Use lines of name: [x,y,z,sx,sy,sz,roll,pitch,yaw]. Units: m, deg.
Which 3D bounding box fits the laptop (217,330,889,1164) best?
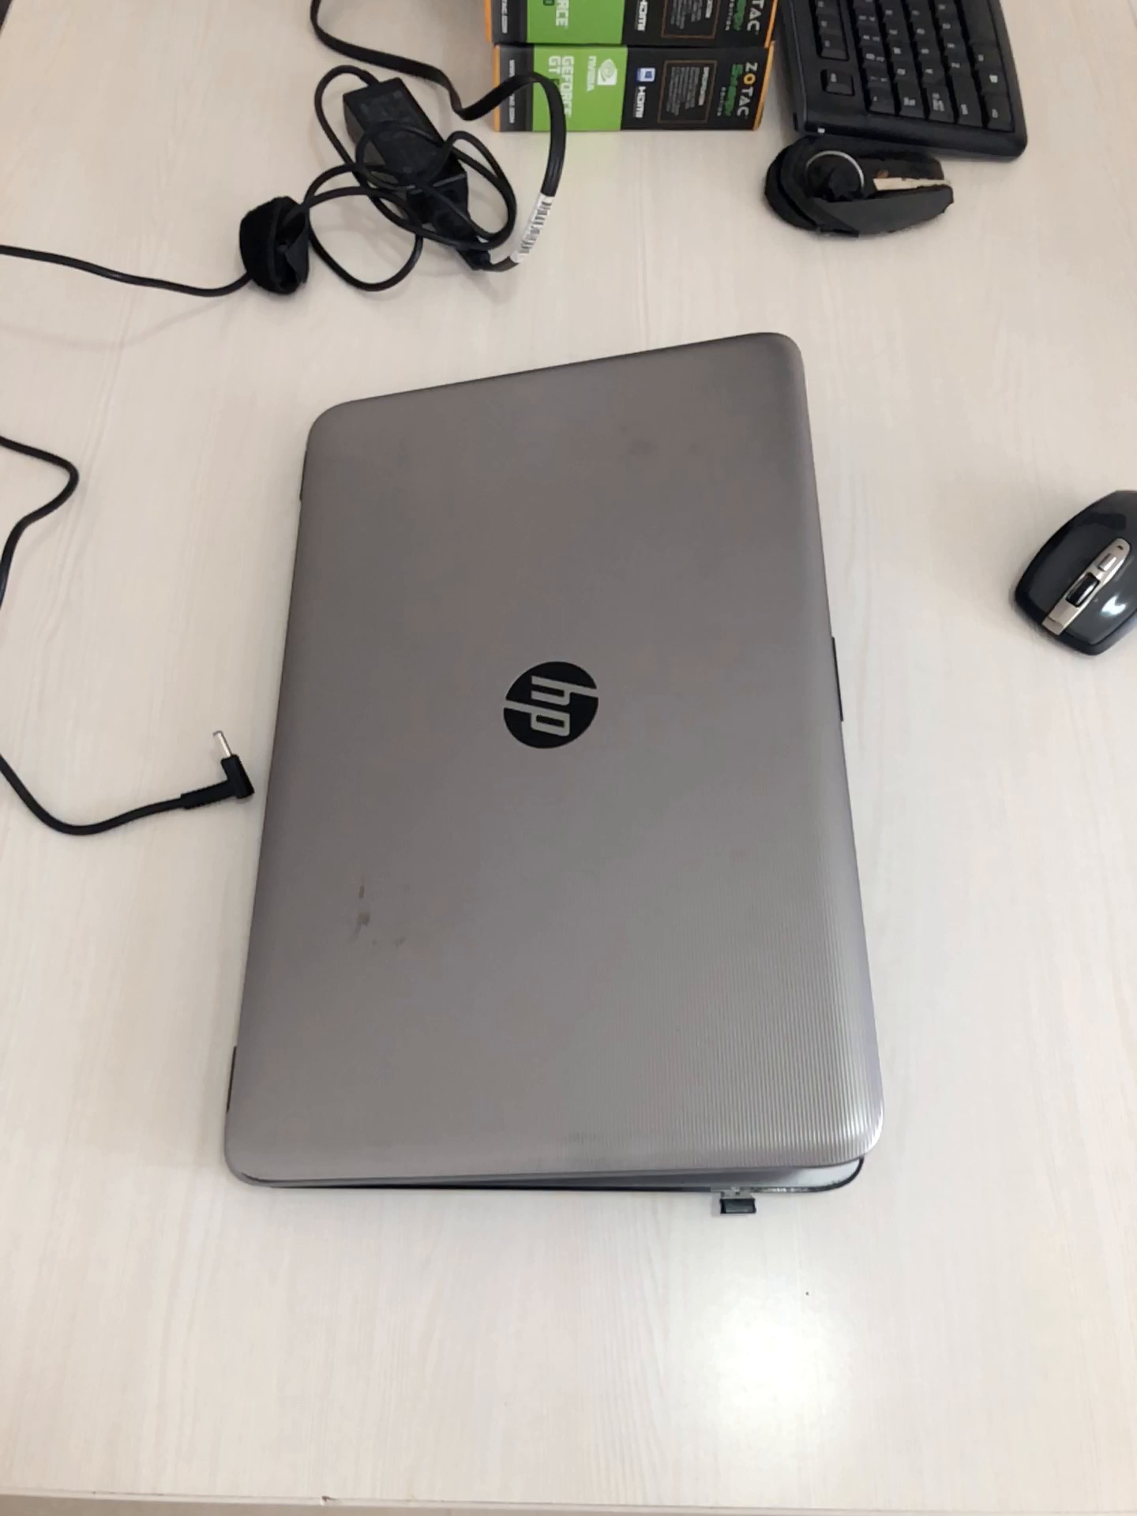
laptop: [-0.003,-0.022,0.528,0.226,0.062,0.357,1,64,-1]
